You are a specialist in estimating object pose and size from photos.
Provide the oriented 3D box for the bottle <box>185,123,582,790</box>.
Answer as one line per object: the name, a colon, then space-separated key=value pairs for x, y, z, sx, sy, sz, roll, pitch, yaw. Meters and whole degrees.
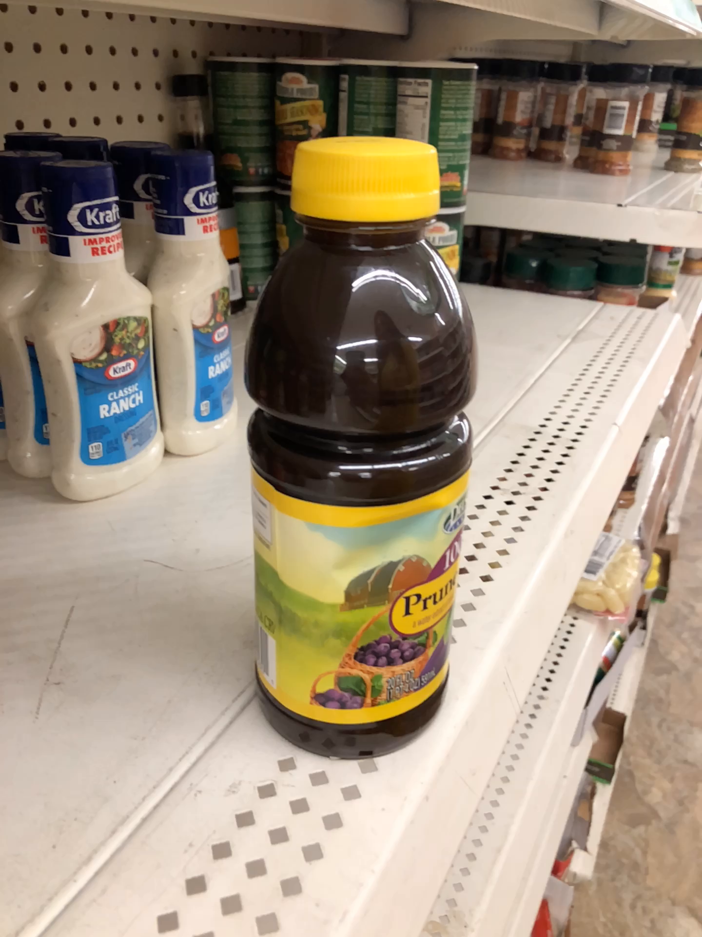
bottle: x=0.011 y=-0.006 z=0.246 sx=0.080 sy=0.181 sz=0.080 roll=1 pitch=27 yaw=-1
